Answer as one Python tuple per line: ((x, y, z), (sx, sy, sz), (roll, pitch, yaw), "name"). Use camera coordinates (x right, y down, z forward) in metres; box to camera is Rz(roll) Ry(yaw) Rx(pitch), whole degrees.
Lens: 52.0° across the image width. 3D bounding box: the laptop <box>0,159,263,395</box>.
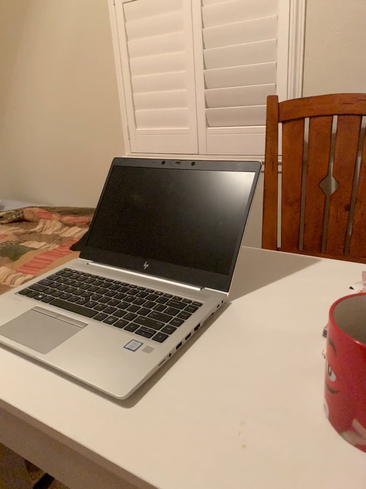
((-0.099, -0.013, 0.559), (0.310, 0.159, 0.366), (10, 25, 32), "laptop")
